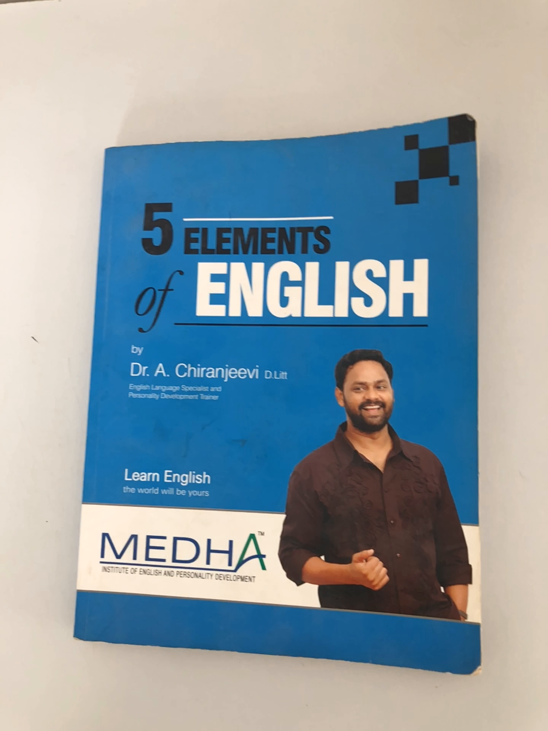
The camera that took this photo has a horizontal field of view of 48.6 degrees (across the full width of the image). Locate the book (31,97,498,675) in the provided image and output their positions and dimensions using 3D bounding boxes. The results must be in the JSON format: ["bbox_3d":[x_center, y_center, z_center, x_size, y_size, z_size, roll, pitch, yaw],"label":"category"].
[{"bbox_3d":[-0.005,0.003,0.253,0.180,0.020,0.220,0,83,8],"label":"book"}]
